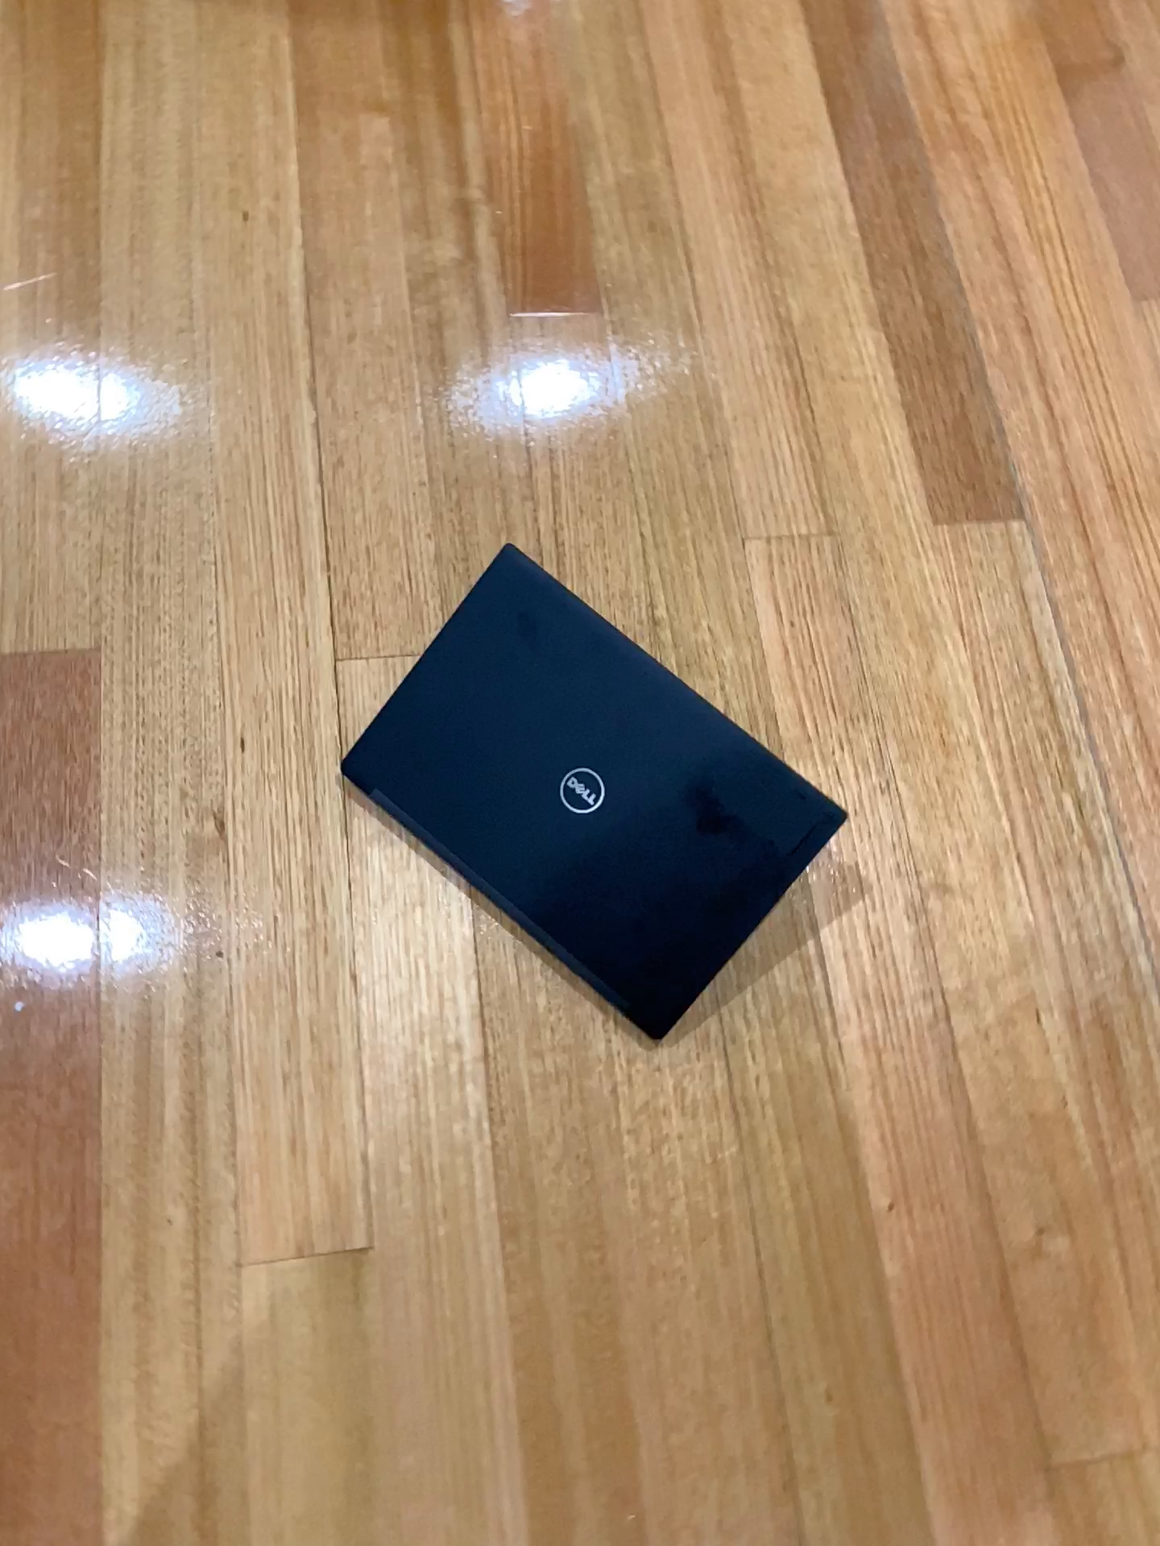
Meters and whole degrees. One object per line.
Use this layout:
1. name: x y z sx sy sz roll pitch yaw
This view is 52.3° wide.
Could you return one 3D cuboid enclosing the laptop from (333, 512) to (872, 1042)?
1. laptop: 0.010 0.003 0.831 0.296 0.110 0.206 40 73 9
